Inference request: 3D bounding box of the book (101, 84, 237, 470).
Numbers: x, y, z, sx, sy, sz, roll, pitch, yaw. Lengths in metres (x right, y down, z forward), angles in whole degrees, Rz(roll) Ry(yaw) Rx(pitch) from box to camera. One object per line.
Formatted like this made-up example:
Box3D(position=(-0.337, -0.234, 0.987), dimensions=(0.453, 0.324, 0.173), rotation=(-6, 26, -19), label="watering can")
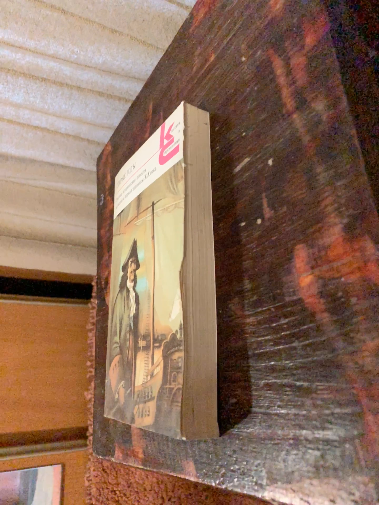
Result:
Box3D(position=(-0.020, 0.015, 0.256), dimensions=(0.124, 0.026, 0.197), rotation=(-22, 64, 57), label="book")
